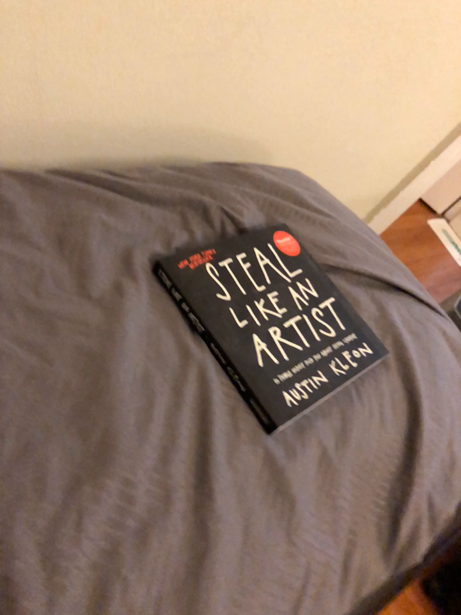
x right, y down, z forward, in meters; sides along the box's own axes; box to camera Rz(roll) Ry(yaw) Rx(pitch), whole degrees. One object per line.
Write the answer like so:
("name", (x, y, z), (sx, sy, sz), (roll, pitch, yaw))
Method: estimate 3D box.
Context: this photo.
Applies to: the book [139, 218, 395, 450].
("book", (0.036, 0.006, 0.411), (0.161, 0.020, 0.160), (-21, 69, -43))
